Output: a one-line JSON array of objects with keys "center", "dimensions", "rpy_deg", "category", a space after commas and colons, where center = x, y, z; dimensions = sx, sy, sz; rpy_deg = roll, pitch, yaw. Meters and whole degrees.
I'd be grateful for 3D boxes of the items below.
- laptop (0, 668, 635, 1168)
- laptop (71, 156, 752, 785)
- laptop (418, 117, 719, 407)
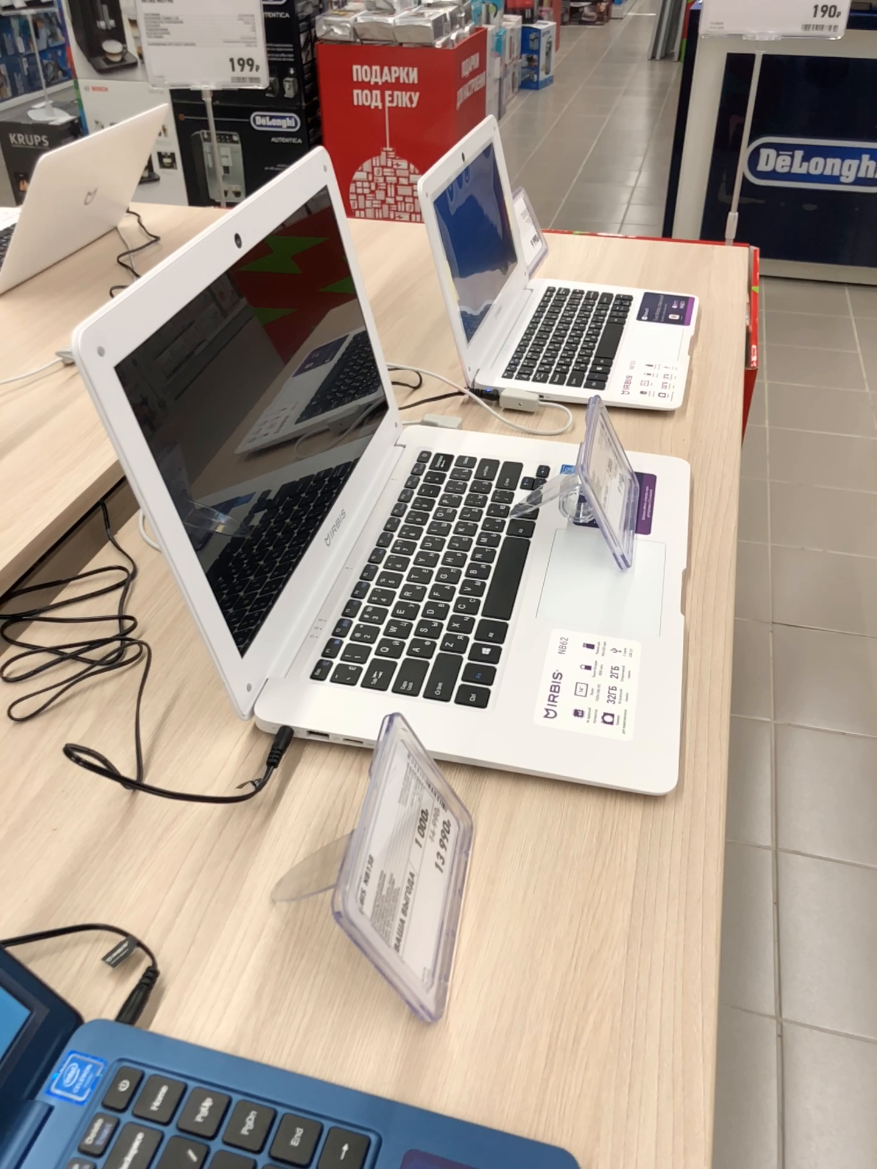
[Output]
[{"center": [-0.138, 0.197, 0.203], "dimensions": [0.310, 0.158, 0.300], "rpy_deg": [9, 36, 12], "category": "laptop"}, {"center": [0.017, -0.099, 0.576], "dimensions": [0.279, 0.207, 0.335], "rpy_deg": [8, 37, 10], "category": "laptop"}, {"center": [0.128, -0.312, 0.899], "dimensions": [0.221, 0.167, 0.261], "rpy_deg": [9, 38, 12], "category": "laptop"}]
